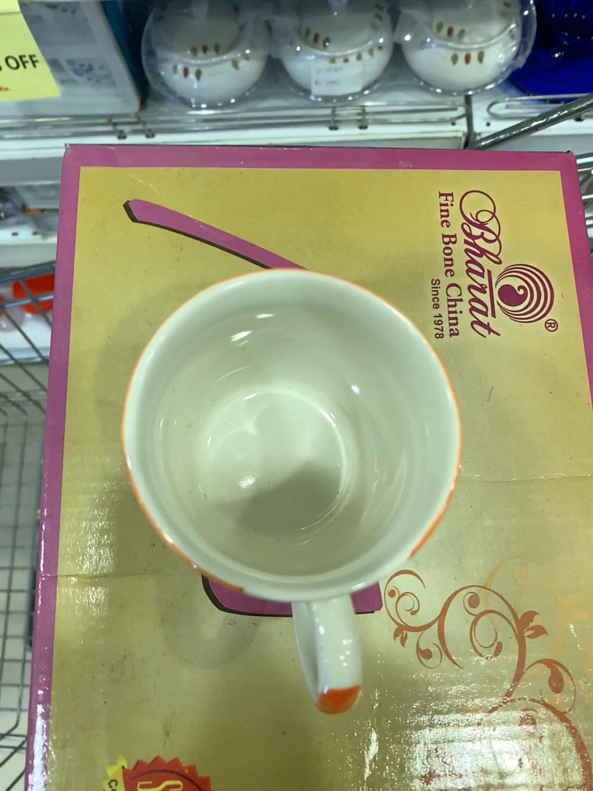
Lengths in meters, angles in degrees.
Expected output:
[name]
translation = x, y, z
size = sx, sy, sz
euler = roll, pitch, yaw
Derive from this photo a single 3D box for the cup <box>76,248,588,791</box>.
[cup]
translation = 0.001, 0.027, 0.148
size = 0.080, 0.070, 0.090
euler = -9, 77, -7
